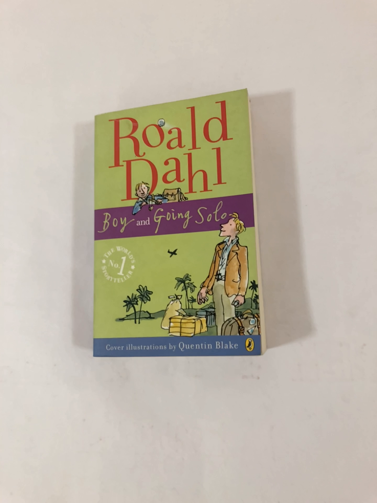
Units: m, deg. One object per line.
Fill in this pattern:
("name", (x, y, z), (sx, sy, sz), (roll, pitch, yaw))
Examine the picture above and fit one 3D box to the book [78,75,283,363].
("book", (-0.009, -0.020, 0.312), (0.140, 0.036, 0.193), (-5, 80, 14))
